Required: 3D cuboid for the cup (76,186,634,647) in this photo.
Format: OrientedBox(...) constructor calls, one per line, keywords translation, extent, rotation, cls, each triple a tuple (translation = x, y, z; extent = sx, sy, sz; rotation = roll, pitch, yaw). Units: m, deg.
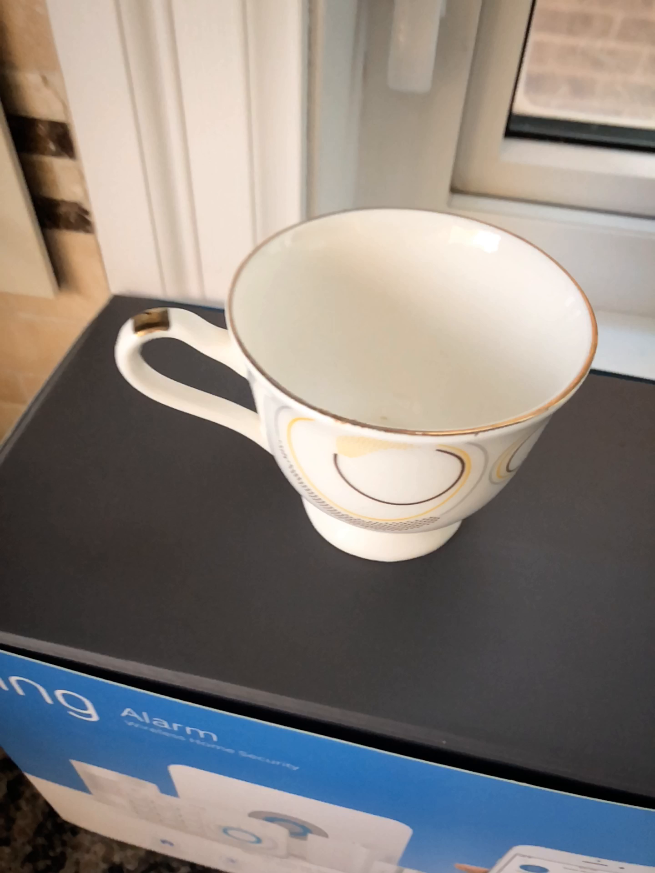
OrientedBox(translation=(0.008, -0.006, 0.181), extent=(0.100, 0.066, 0.076), rotation=(8, 50, 5), cls="cup")
